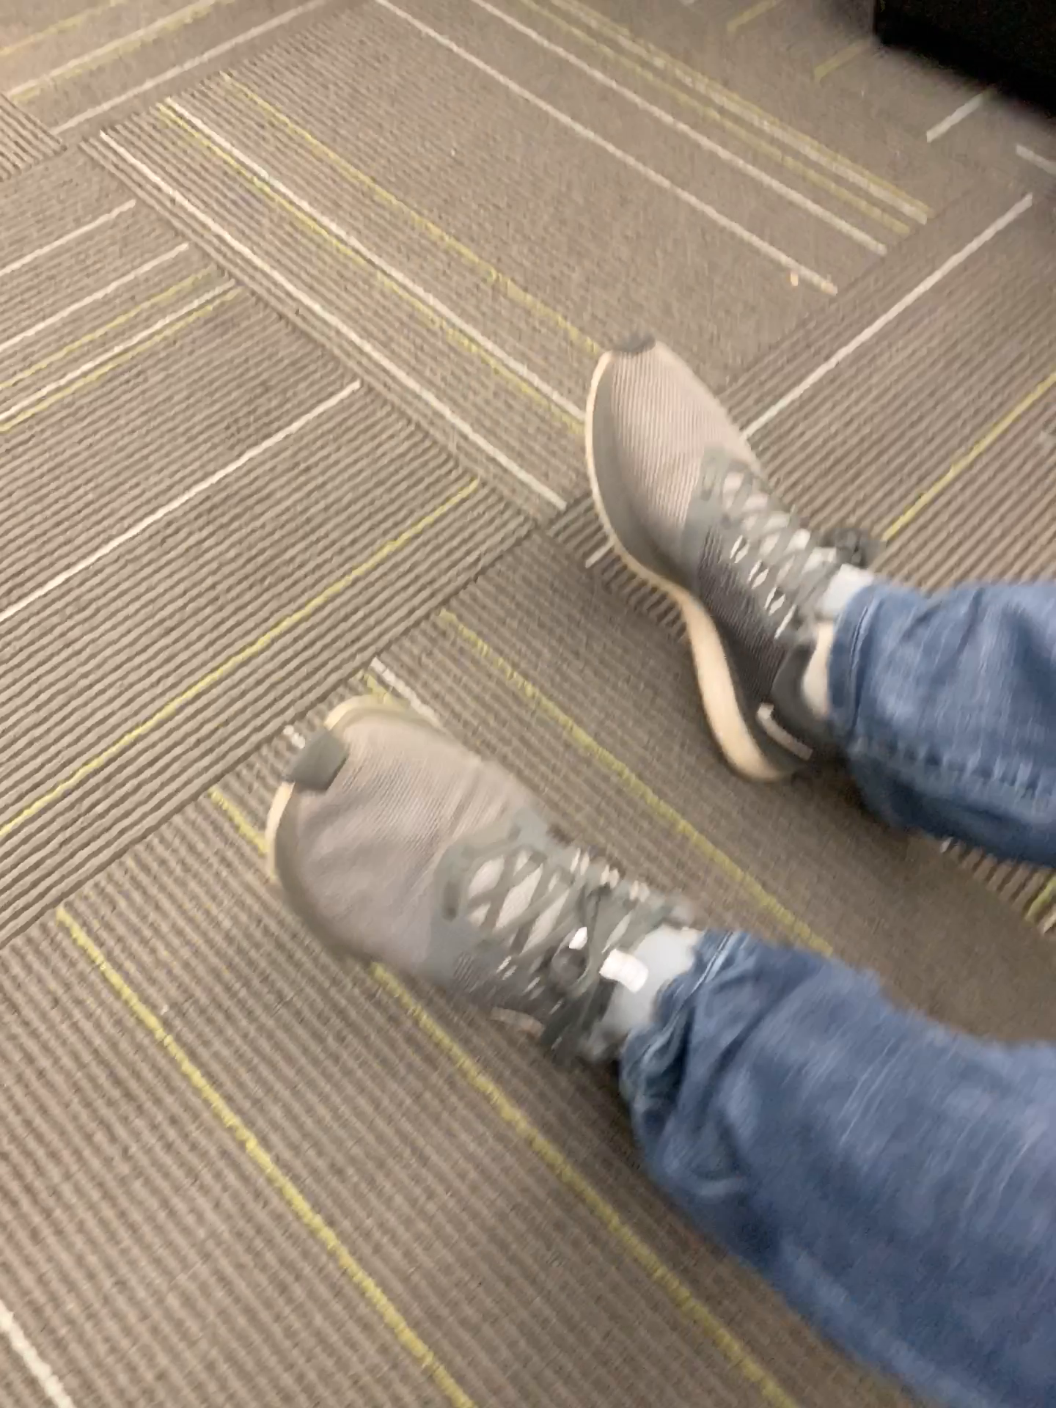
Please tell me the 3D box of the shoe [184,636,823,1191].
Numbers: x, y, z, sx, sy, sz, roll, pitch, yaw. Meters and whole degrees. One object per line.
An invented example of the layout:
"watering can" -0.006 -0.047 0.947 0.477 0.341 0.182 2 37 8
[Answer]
"shoe" 0.010 0.107 0.505 0.122 0.293 0.119 11 64 43

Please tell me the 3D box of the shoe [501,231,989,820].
"shoe" 0.128 -0.091 0.630 0.119 0.122 0.294 -37 105 -25
